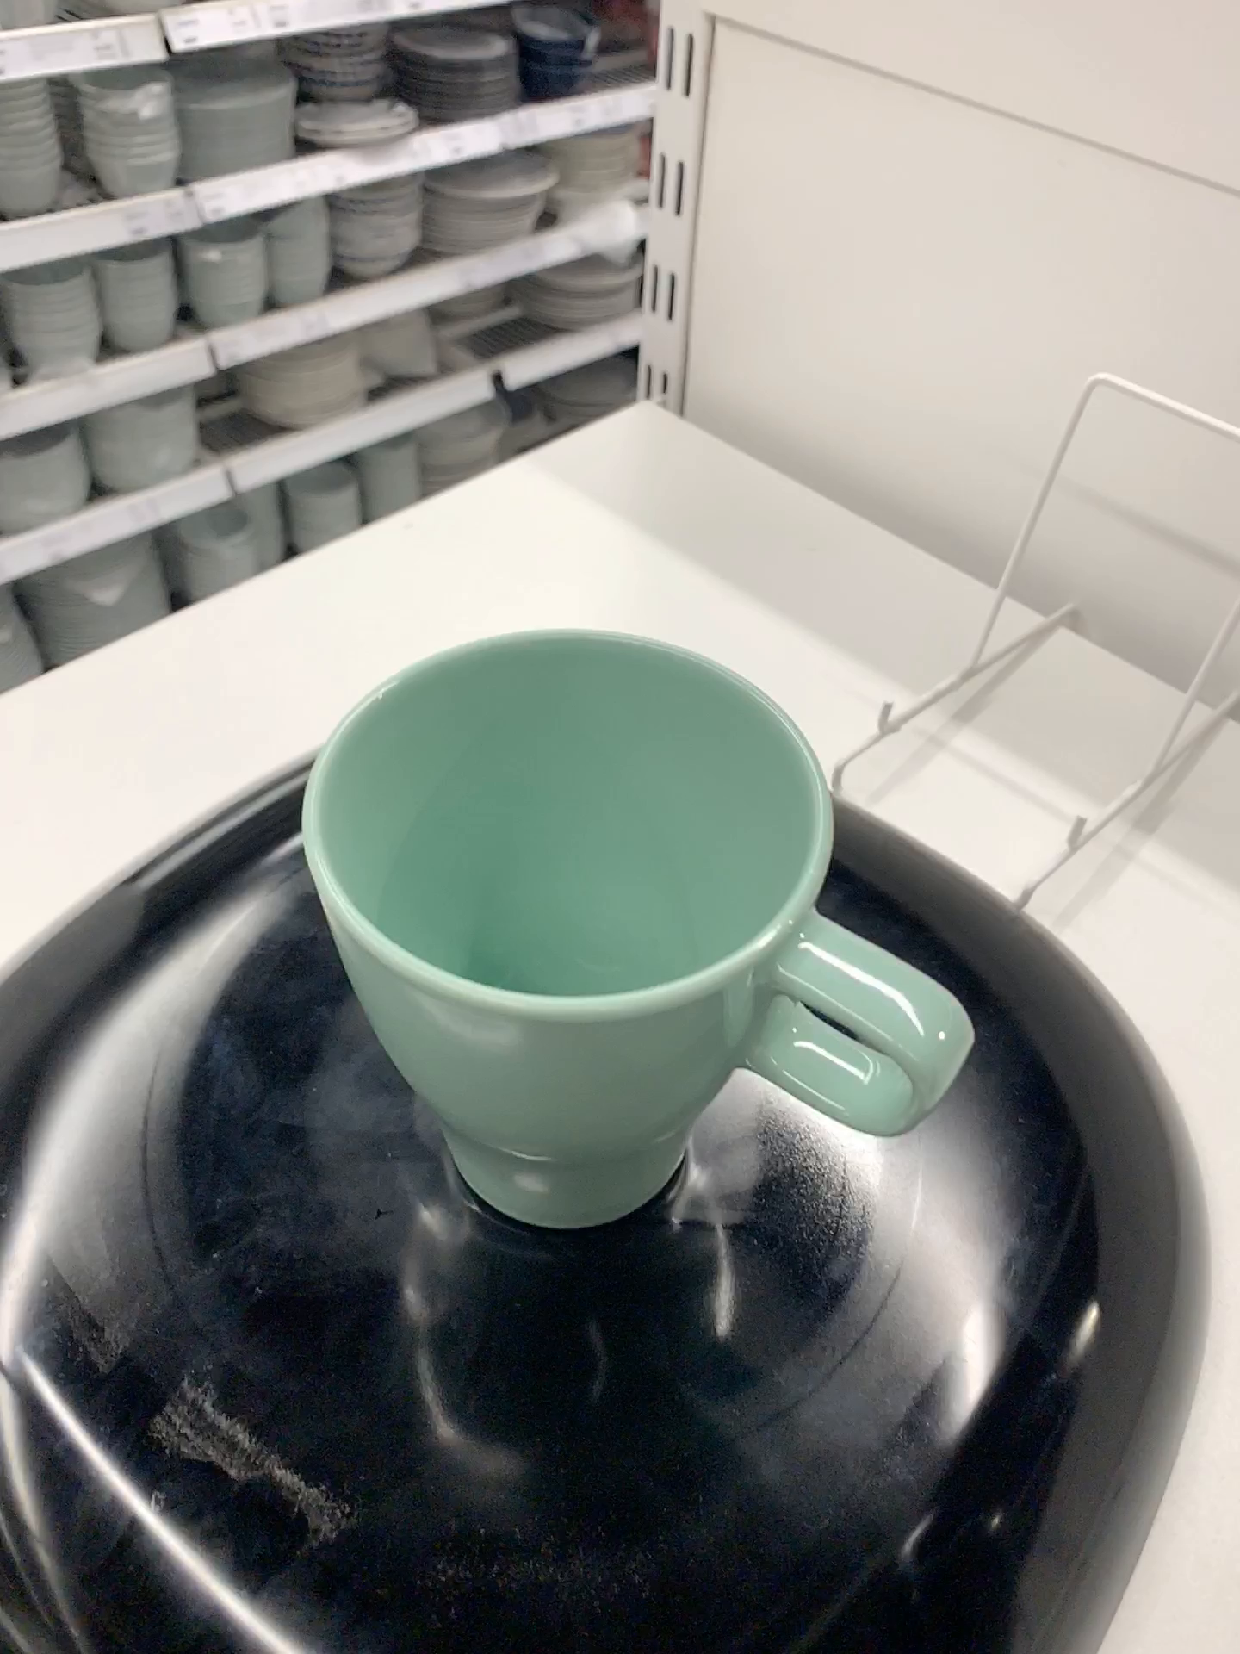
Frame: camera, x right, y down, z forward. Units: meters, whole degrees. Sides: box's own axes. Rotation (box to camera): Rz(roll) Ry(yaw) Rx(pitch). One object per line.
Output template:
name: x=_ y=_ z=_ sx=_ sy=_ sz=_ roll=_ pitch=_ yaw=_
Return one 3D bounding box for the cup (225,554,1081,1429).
cup: x=0.006 y=0.028 z=0.234 sx=0.110 sy=0.100 sz=0.080 roll=21 pitch=47 yaw=15
